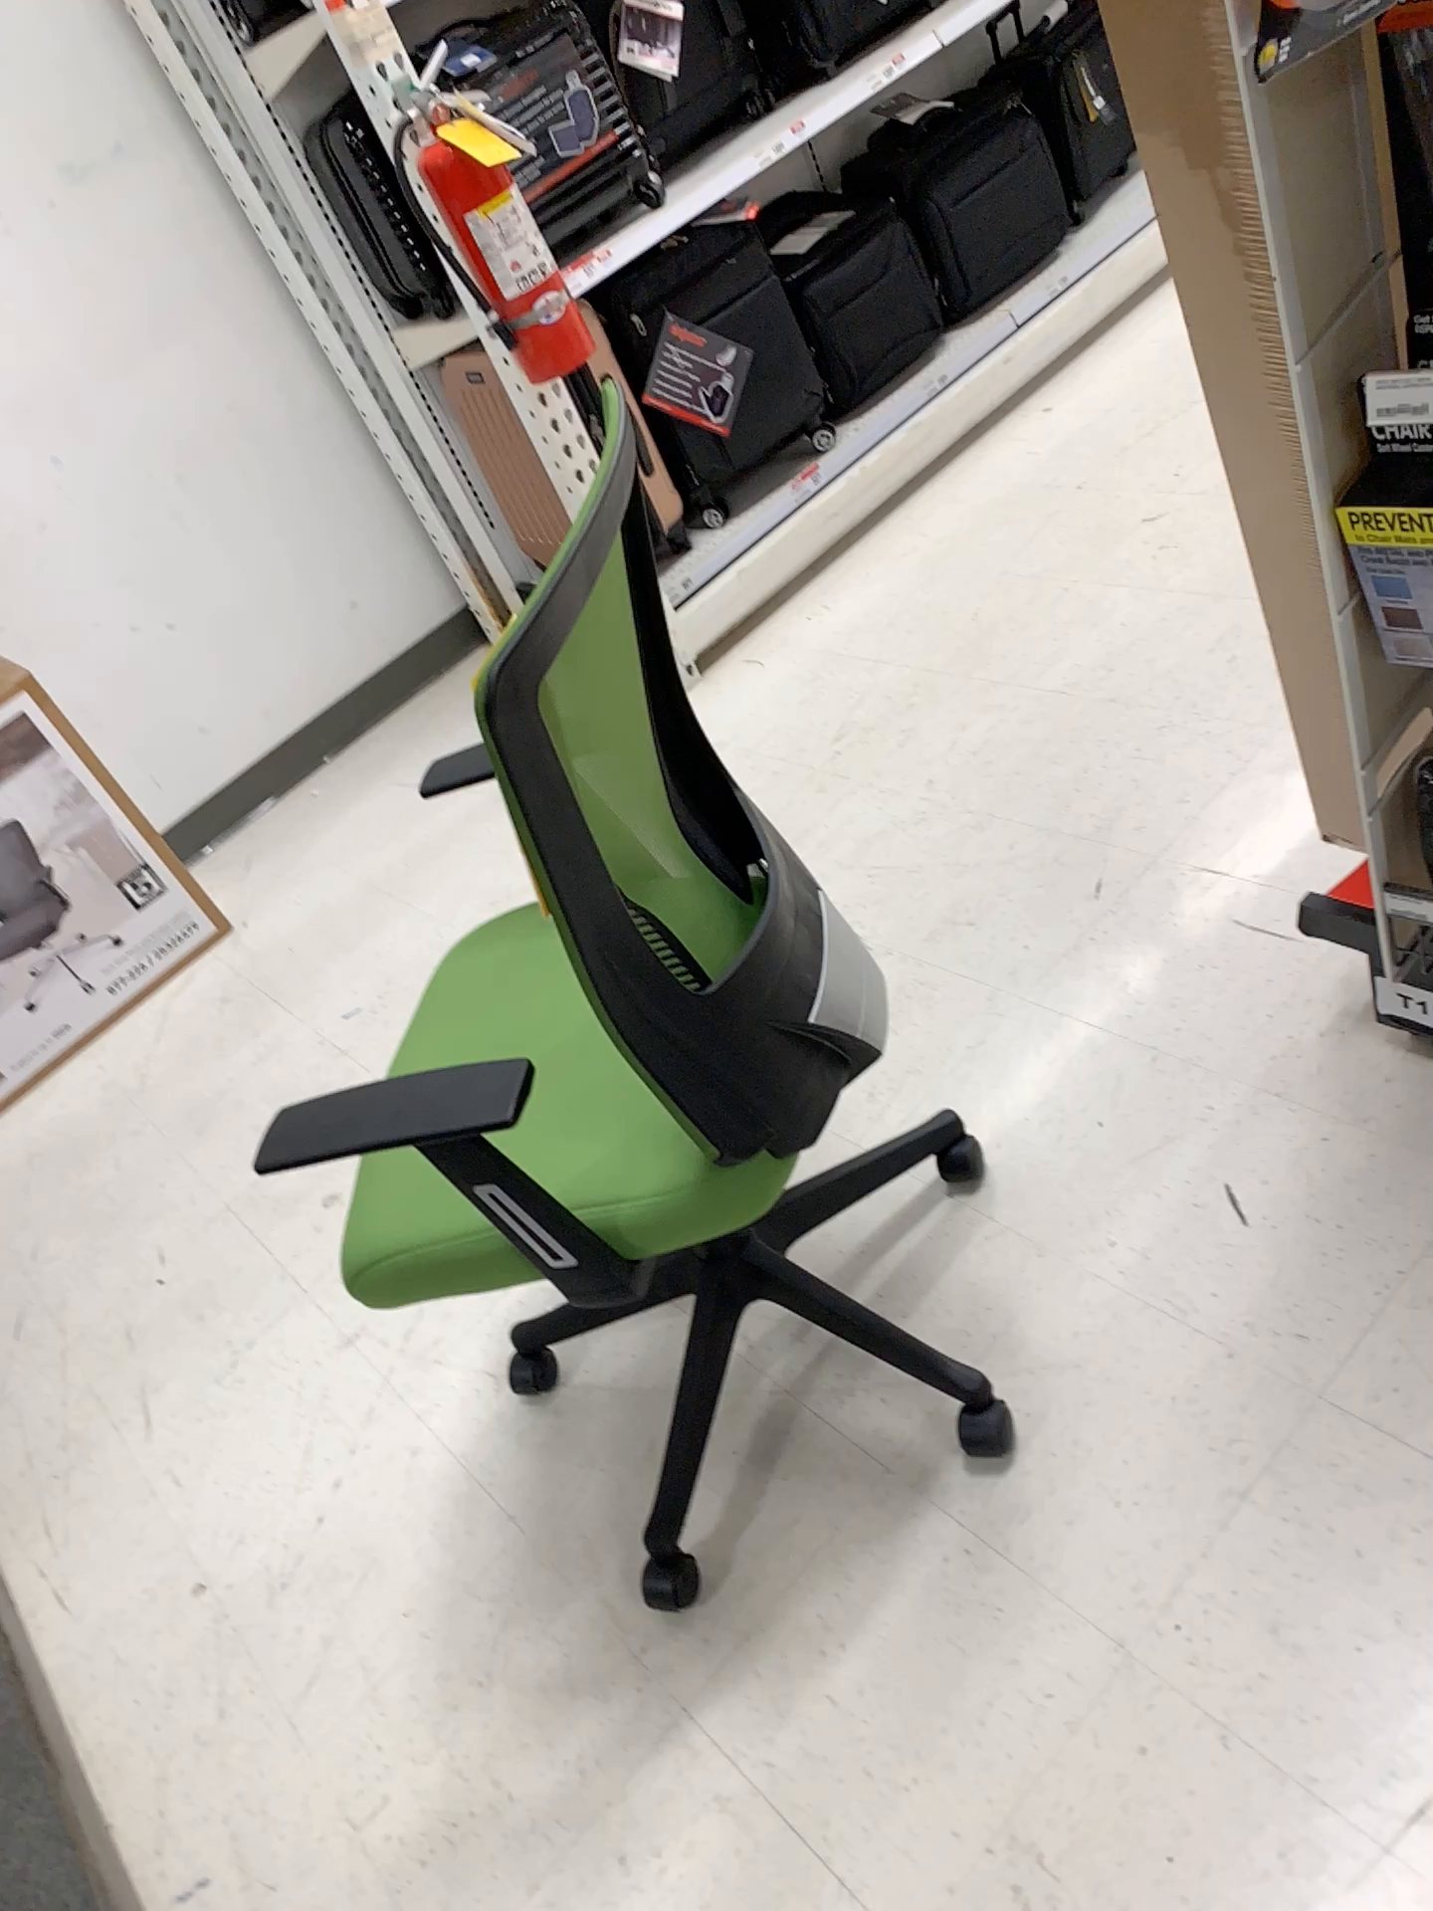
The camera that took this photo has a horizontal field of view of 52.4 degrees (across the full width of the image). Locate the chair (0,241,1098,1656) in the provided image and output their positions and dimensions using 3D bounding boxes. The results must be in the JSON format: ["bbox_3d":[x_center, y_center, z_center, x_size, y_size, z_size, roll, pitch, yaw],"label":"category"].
[{"bbox_3d":[-0.139,0.061,1.357,0.671,0.994,0.673,-15,38,18],"label":"chair"}]
